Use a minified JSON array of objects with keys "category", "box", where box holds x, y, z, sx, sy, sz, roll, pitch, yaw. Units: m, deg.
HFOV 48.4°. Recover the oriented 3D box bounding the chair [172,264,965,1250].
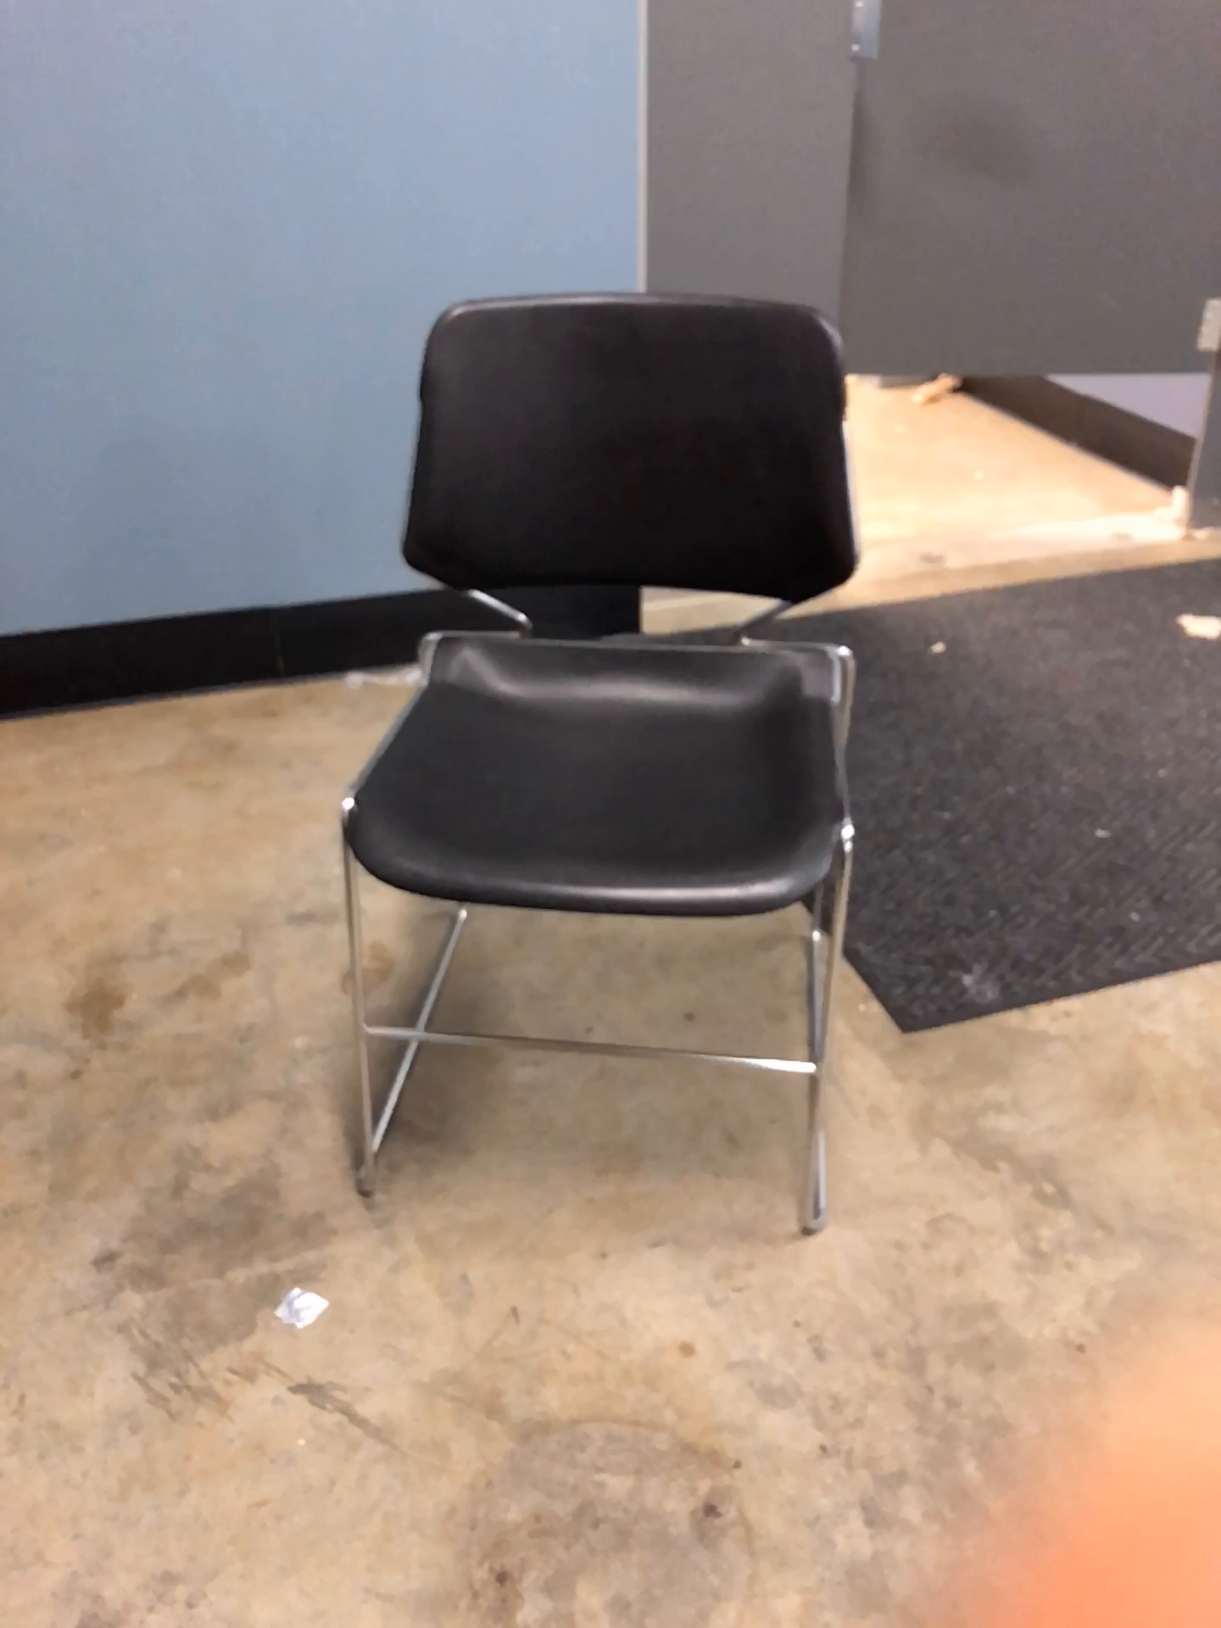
[{"category":"chair","box":[-0.003,-0.079,1.320,0.524,0.765,0.553,3,31,5]}]
